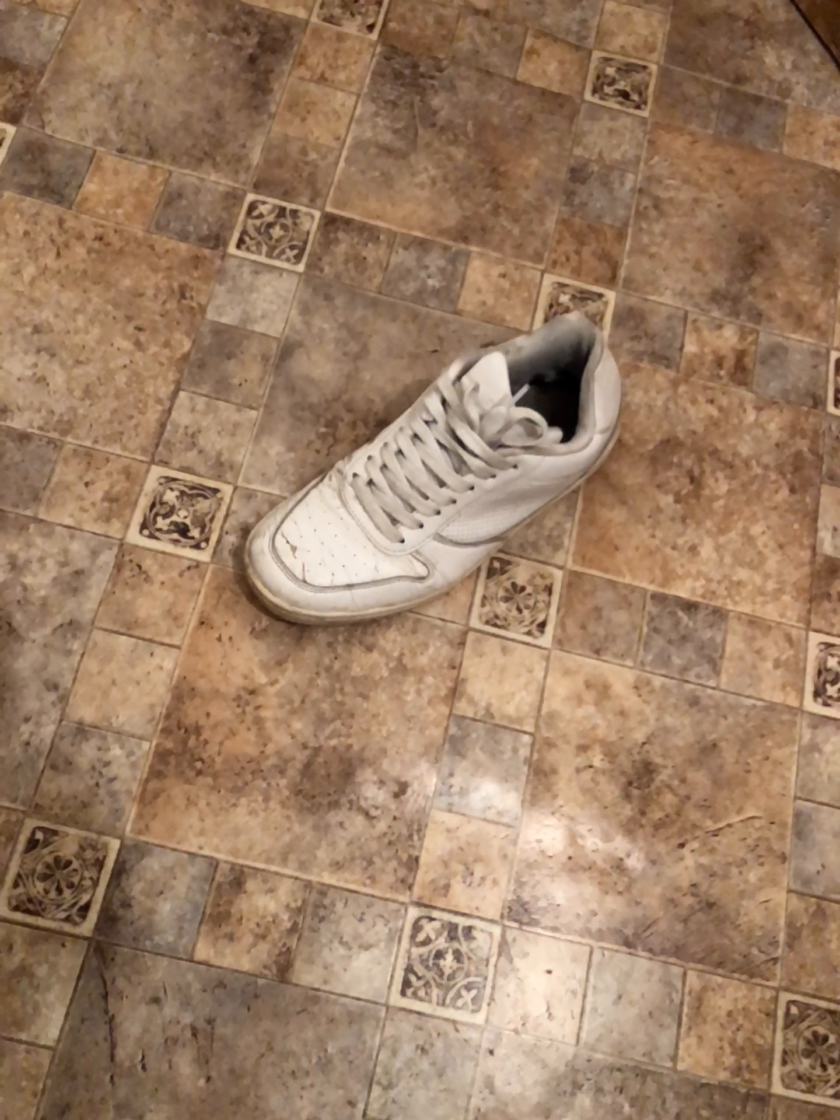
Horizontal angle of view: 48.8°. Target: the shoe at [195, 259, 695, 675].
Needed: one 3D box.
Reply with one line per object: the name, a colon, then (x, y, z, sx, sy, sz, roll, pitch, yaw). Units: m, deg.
shoe: (0.015, -0.060, 0.603, 0.280, 0.110, 0.122, -31, 78, -16)
